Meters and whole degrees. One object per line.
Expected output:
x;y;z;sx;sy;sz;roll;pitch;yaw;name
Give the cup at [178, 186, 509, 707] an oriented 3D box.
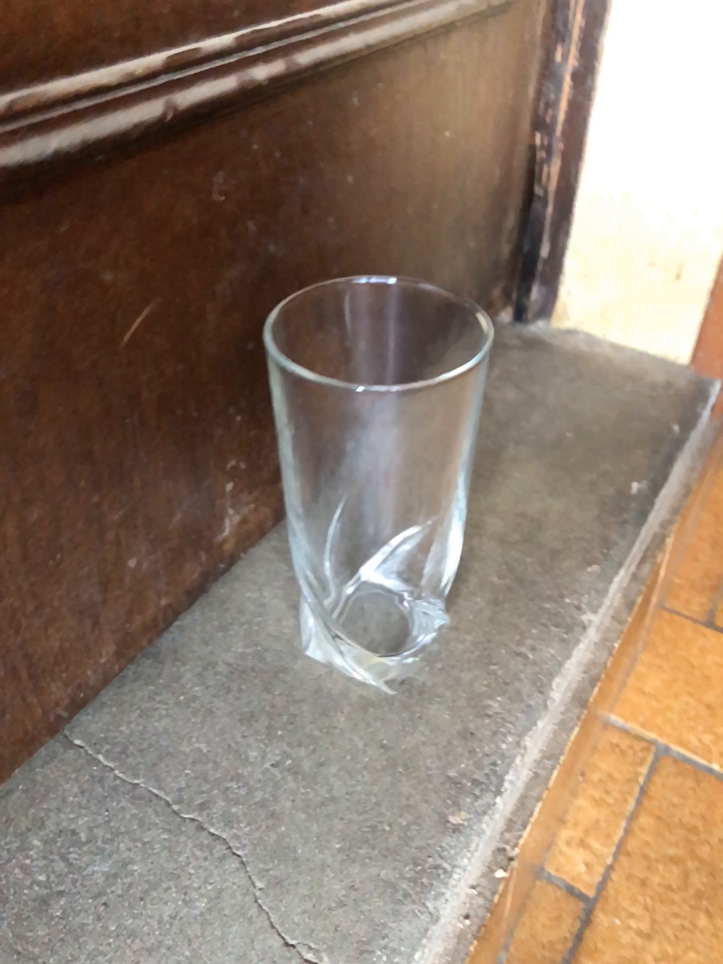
-0.003;-0.008;0.258;0.060;0.139;0.070;20;43;23;cup
